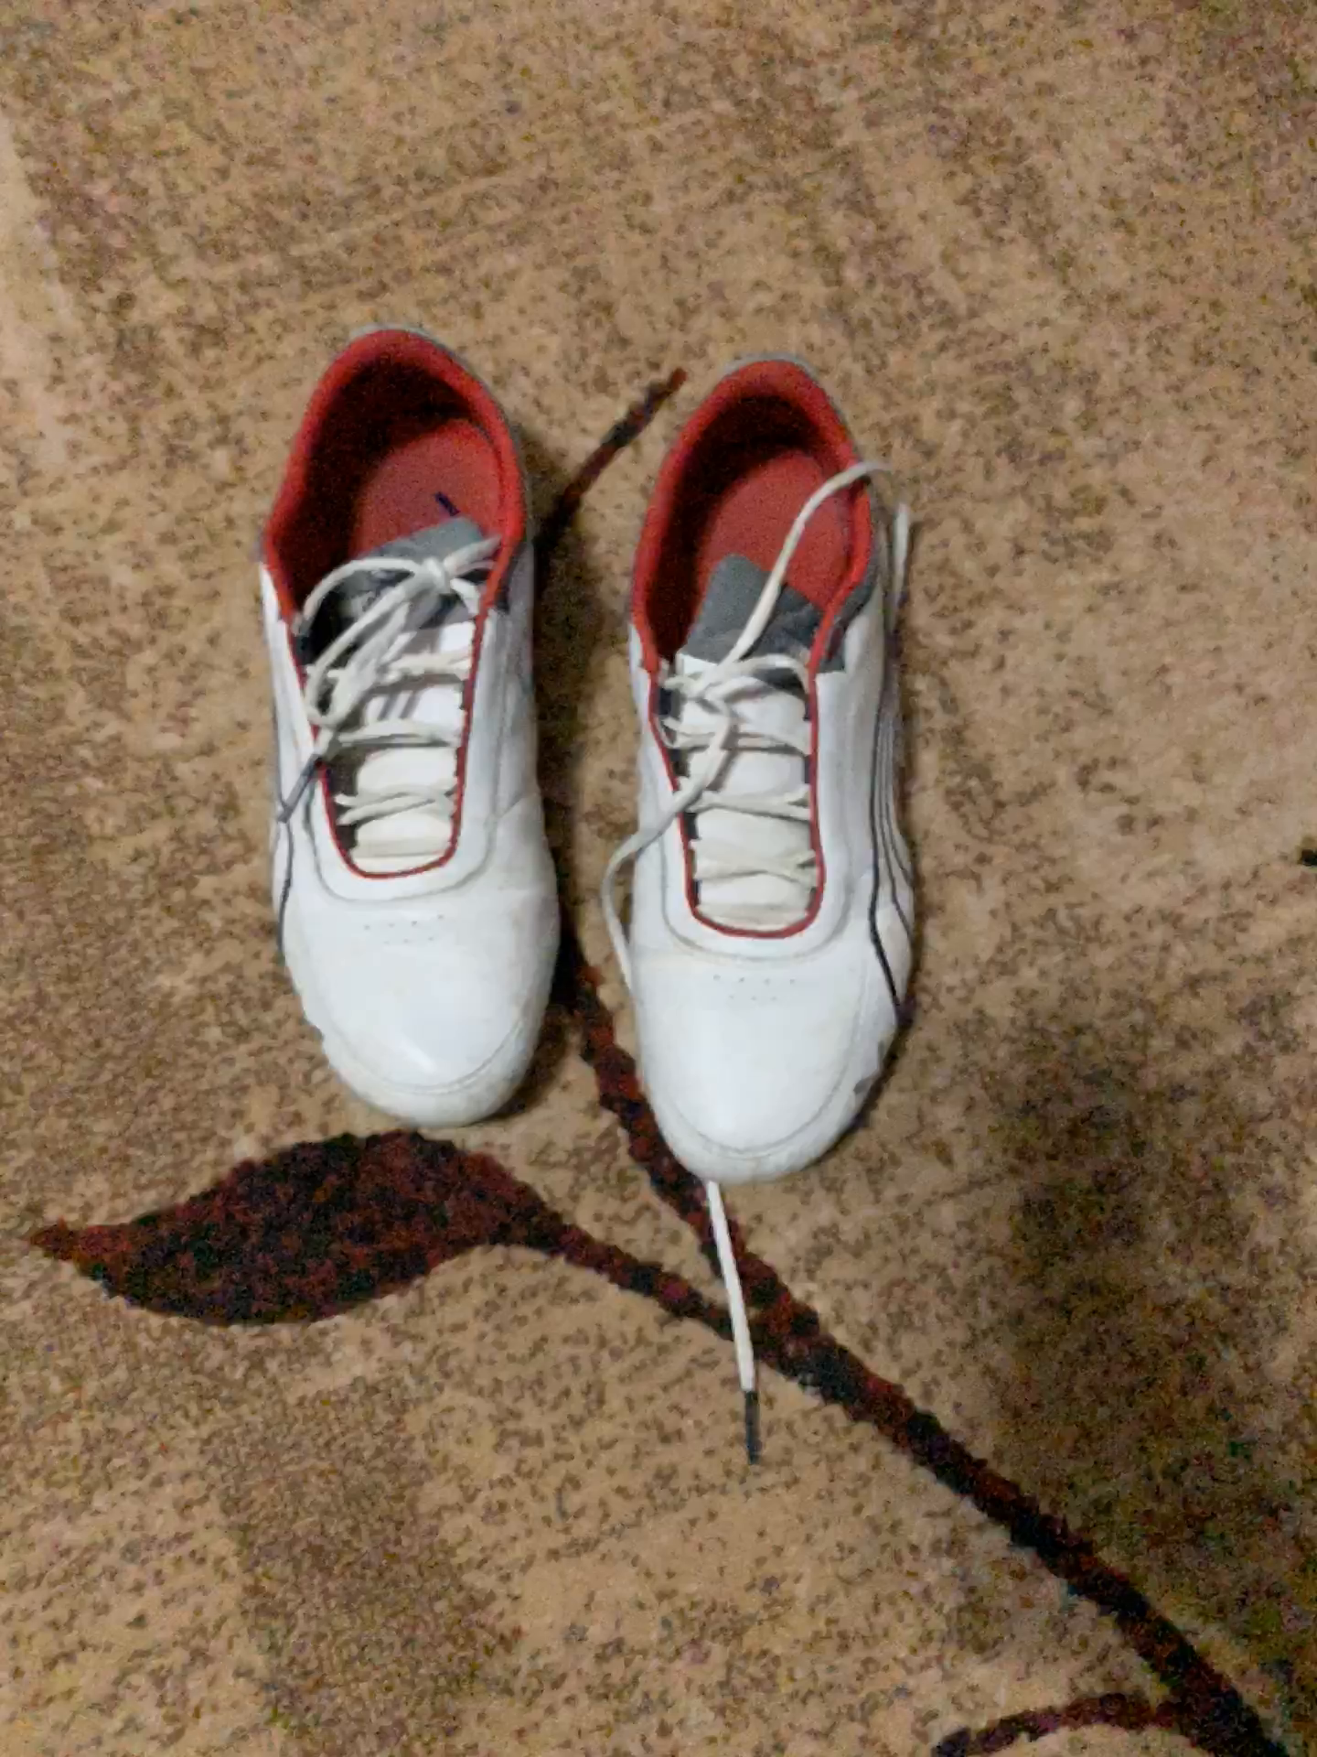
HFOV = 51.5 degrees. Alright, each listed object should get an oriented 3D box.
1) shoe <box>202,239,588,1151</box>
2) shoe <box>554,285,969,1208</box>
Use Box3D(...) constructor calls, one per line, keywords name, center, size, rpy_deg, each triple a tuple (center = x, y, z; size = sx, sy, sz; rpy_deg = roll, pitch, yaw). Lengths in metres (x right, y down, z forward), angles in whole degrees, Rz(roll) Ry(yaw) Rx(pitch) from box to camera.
Box3D(name="shoe", center=(-0.086, -0.060, 0.444), size=(0.099, 0.070, 0.281), rpy_deg=(-6, 76, 0))
Box3D(name="shoe", center=(0.036, -0.043, 0.438), size=(0.103, 0.070, 0.281), rpy_deg=(5, 76, 2))
